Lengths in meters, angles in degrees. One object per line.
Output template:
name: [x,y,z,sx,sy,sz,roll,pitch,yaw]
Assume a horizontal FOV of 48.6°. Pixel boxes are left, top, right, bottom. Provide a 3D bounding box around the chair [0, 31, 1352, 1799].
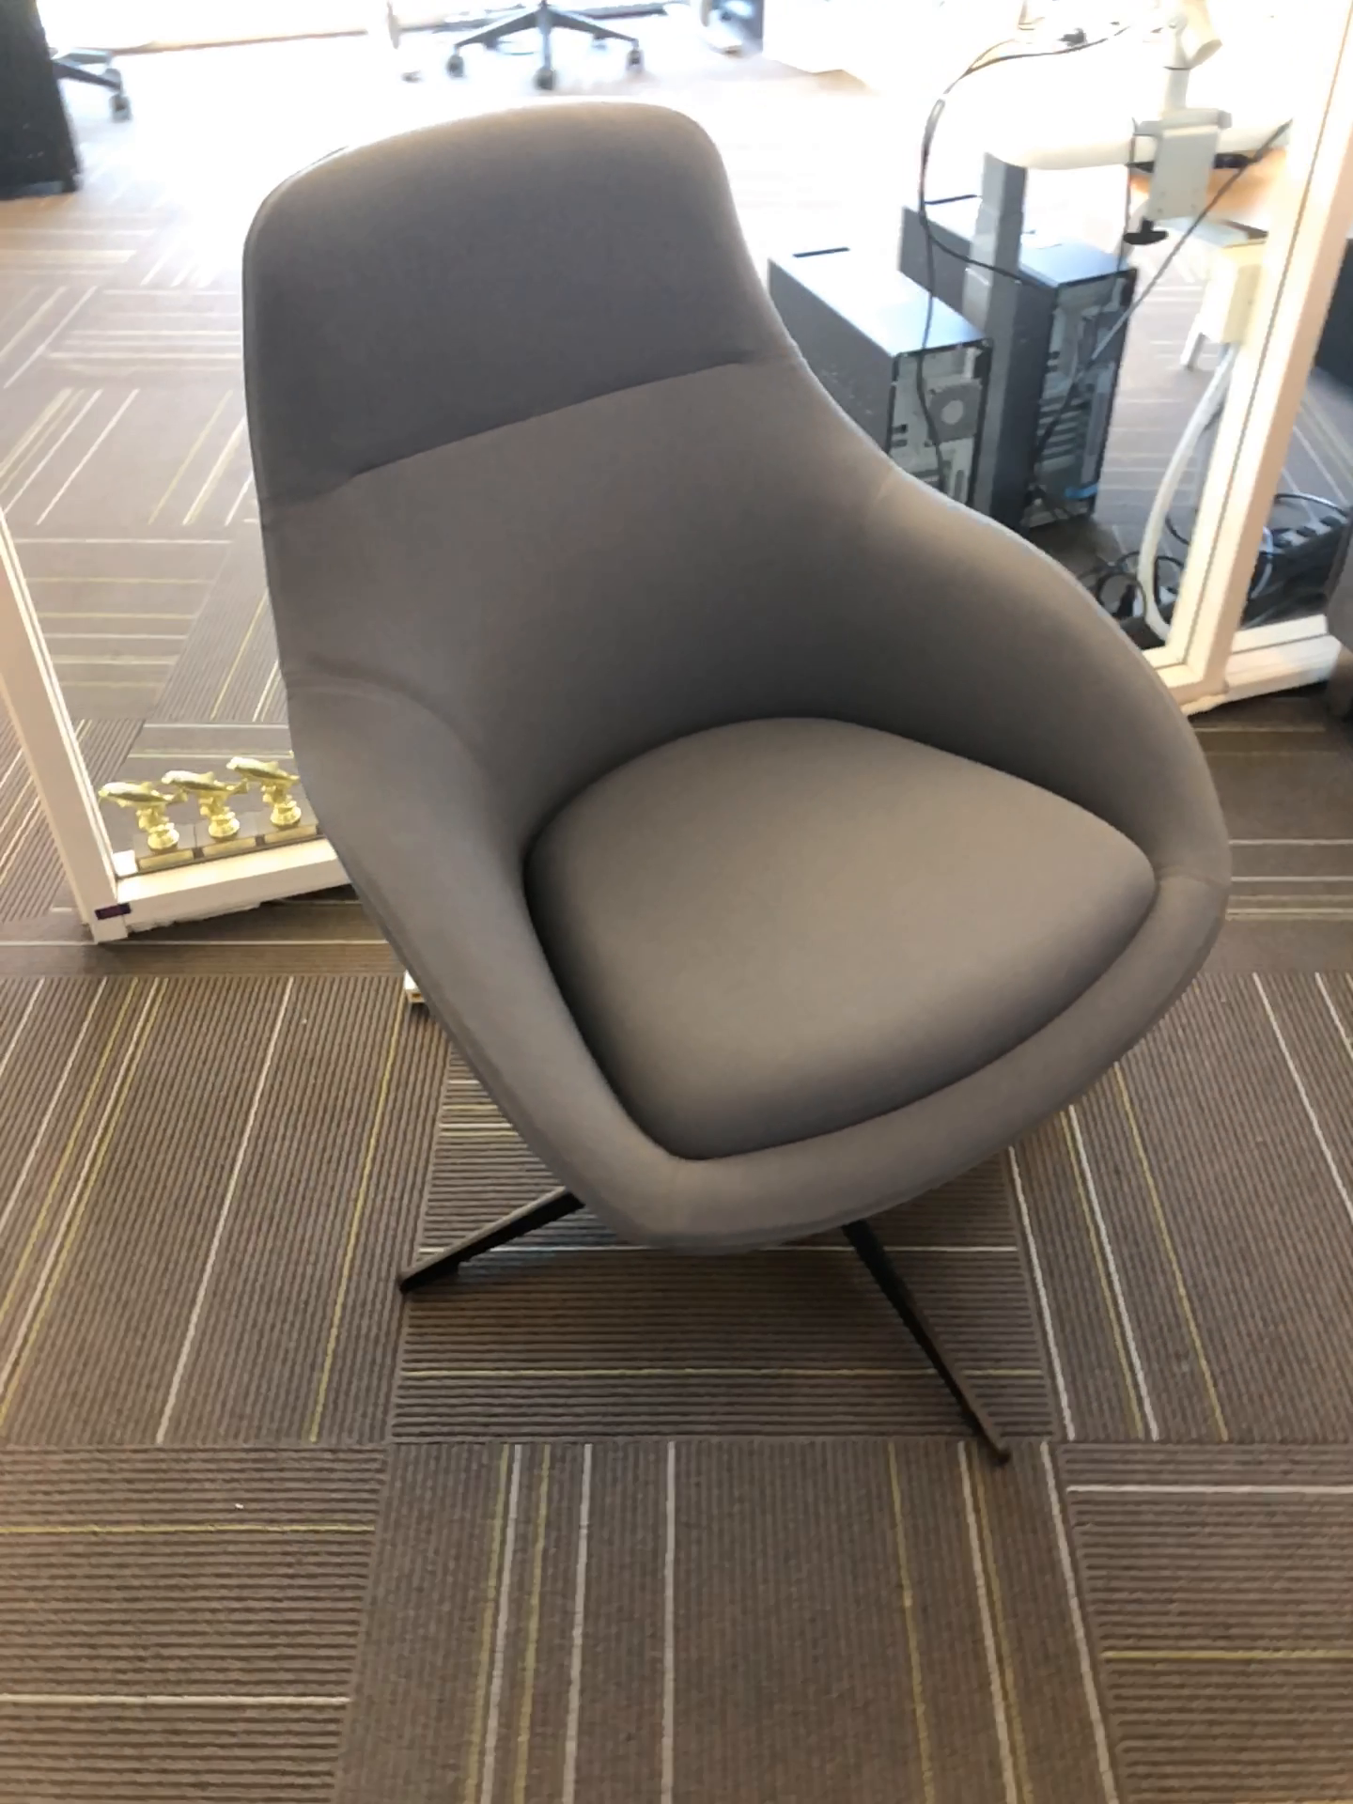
chair: [0.053,-0.092,1.376,0.931,0.995,0.964,-25,46,-25]
